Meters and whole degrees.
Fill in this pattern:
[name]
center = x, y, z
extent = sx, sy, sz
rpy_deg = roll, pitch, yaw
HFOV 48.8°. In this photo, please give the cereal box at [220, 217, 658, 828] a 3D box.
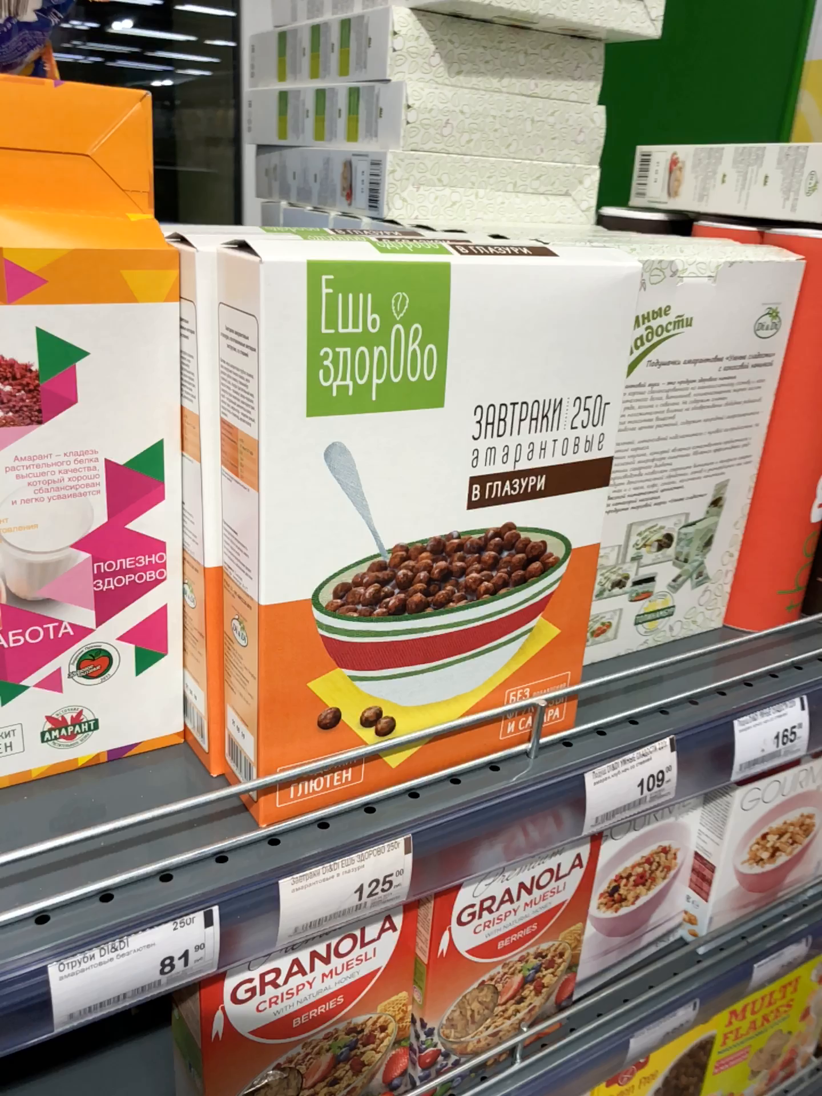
[cereal box]
center = 0.011, -0.016, 0.433
extent = 0.190, 0.259, 0.050
rpy_deg = -10, 26, -31
